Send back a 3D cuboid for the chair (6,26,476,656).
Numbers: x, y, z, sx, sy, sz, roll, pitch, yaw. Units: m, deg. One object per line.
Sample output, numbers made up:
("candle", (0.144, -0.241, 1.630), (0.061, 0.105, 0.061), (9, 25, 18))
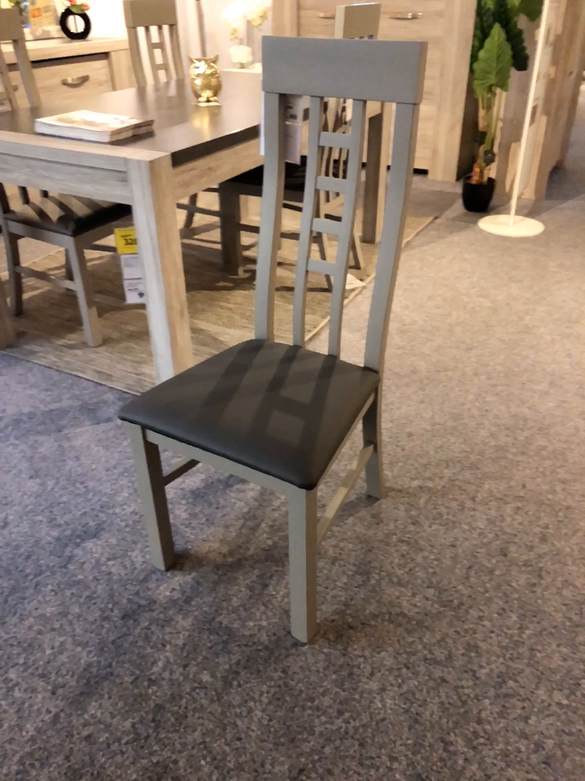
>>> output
("chair", (-0.043, -0.122, 1.268), (0.509, 1.014, 0.554), (17, 36, 27))
